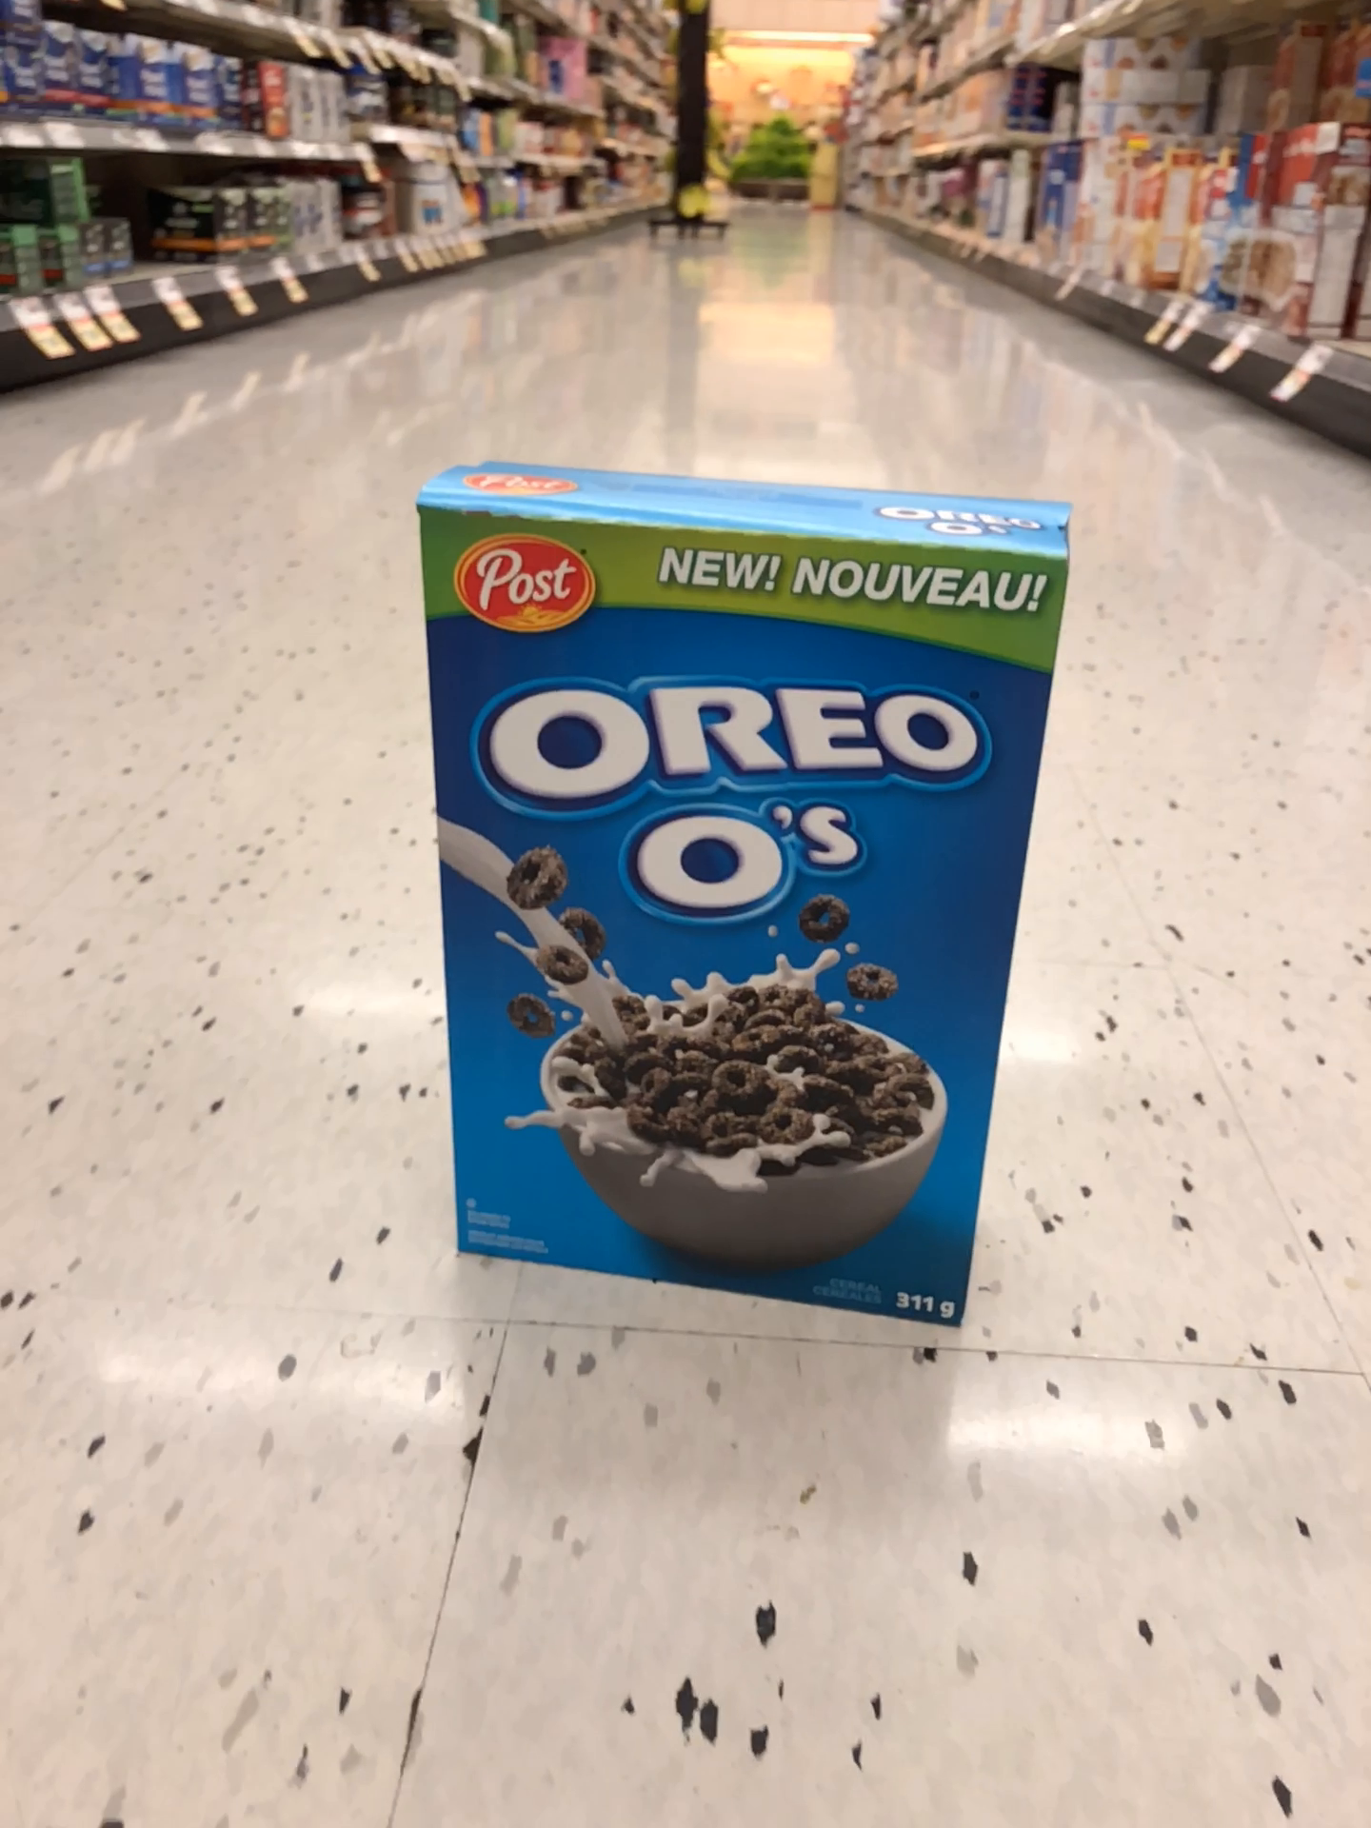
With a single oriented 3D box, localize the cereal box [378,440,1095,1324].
[{"bbox_3d":[0.011,-0.006,0.501,0.200,0.268,0.060,7,26,9],"label":"cereal box"}]
